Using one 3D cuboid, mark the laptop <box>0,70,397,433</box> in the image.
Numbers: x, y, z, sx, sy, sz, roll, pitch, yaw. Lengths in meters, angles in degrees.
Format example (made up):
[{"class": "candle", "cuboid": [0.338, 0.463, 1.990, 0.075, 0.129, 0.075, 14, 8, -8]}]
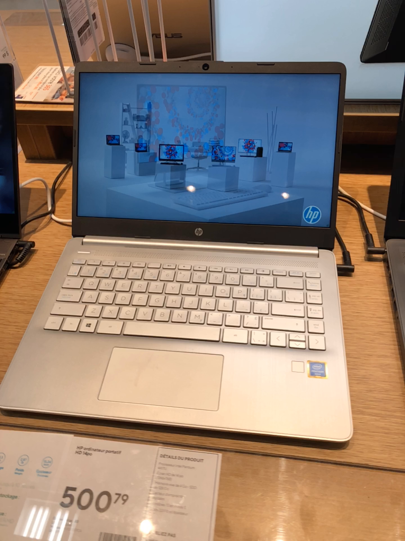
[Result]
[{"class": "laptop", "cuboid": [-0.009, -0.049, 0.466, 0.308, 0.167, 0.347, 2, 46, 10]}]
